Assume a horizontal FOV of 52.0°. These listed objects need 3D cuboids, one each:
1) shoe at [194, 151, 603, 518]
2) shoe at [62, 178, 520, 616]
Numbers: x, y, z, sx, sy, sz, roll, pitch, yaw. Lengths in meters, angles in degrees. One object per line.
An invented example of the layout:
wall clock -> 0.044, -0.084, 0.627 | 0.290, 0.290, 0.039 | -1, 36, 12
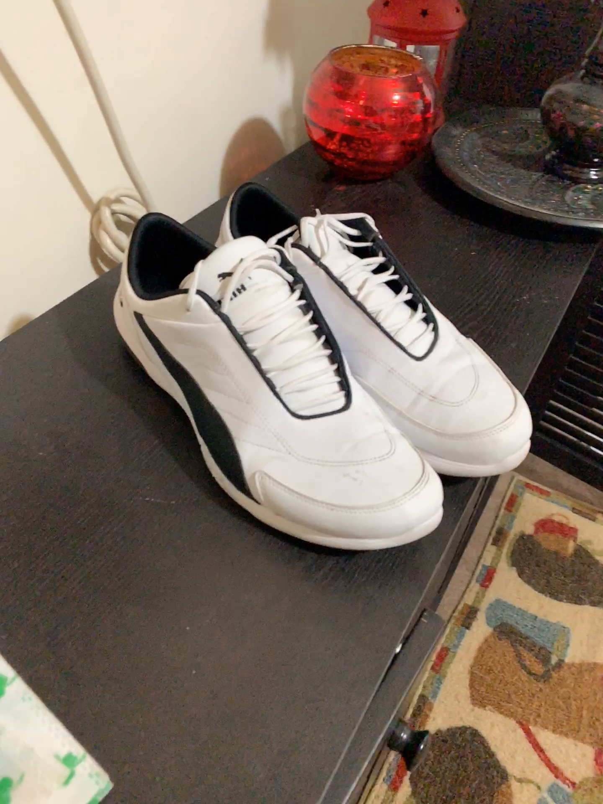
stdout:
shoe -> 0.047, -0.067, 0.447 | 0.100, 0.089, 0.291 | -29, 57, -29
shoe -> -0.024, -0.026, 0.397 | 0.121, 0.089, 0.281 | -29, 57, -29
